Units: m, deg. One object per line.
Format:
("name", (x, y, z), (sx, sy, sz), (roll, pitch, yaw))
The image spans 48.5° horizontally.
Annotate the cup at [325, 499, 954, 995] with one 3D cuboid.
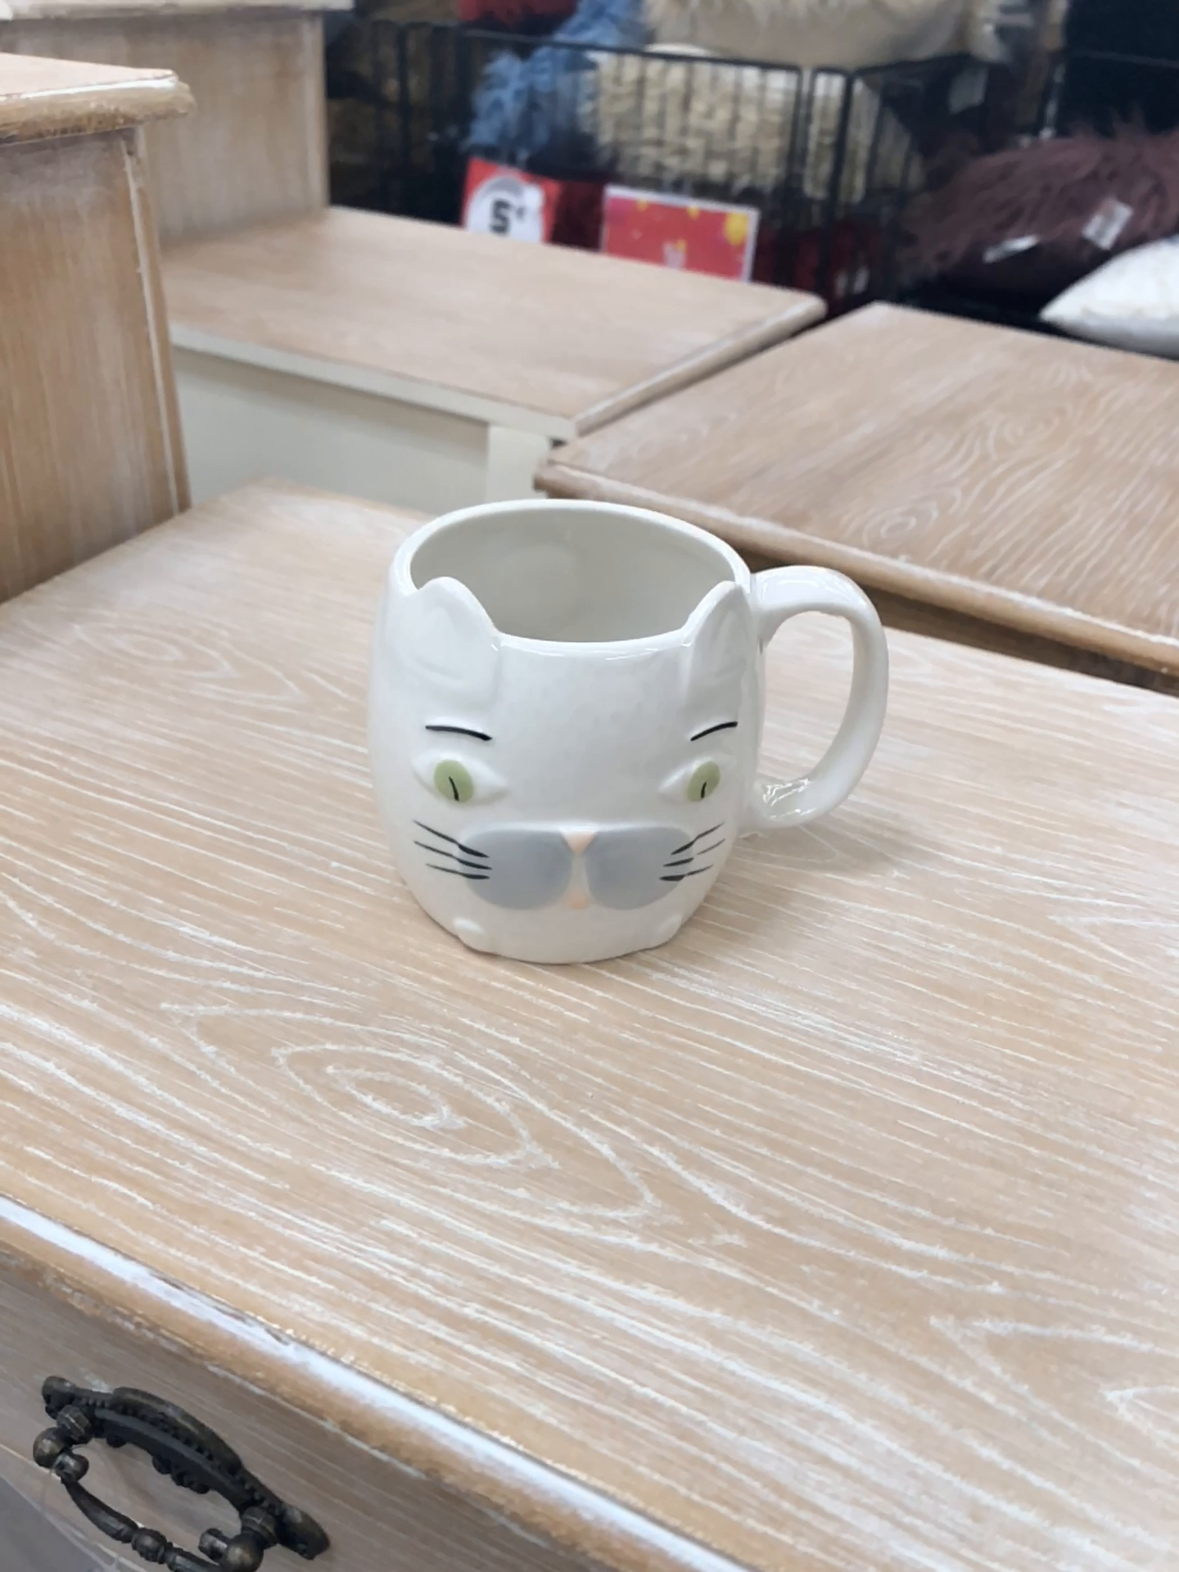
("cup", (0.003, -0.014, 0.311), (0.124, 0.073, 0.092), (-2, 39, -10))
